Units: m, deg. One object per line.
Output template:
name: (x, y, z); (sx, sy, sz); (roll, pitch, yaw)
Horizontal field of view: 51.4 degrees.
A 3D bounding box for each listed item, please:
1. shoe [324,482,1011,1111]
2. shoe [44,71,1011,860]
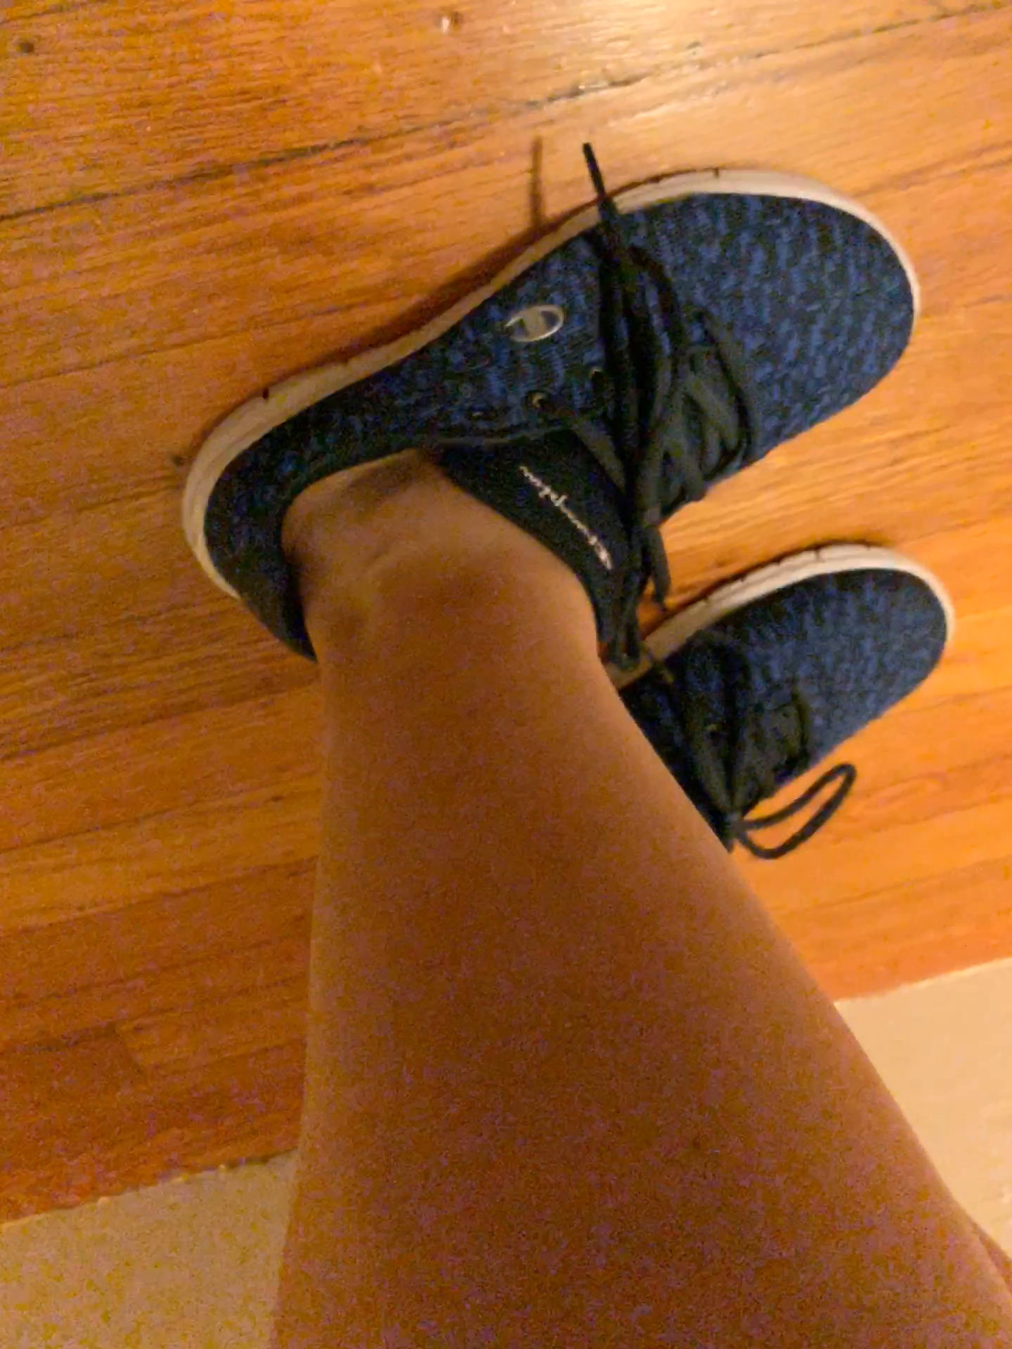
shoe: (0.078, 0.051, 0.455); (0.280, 0.129, 0.118); (-24, 126, 4)
shoe: (0.019, -0.078, 0.361); (0.290, 0.149, 0.116); (-22, 126, 3)
